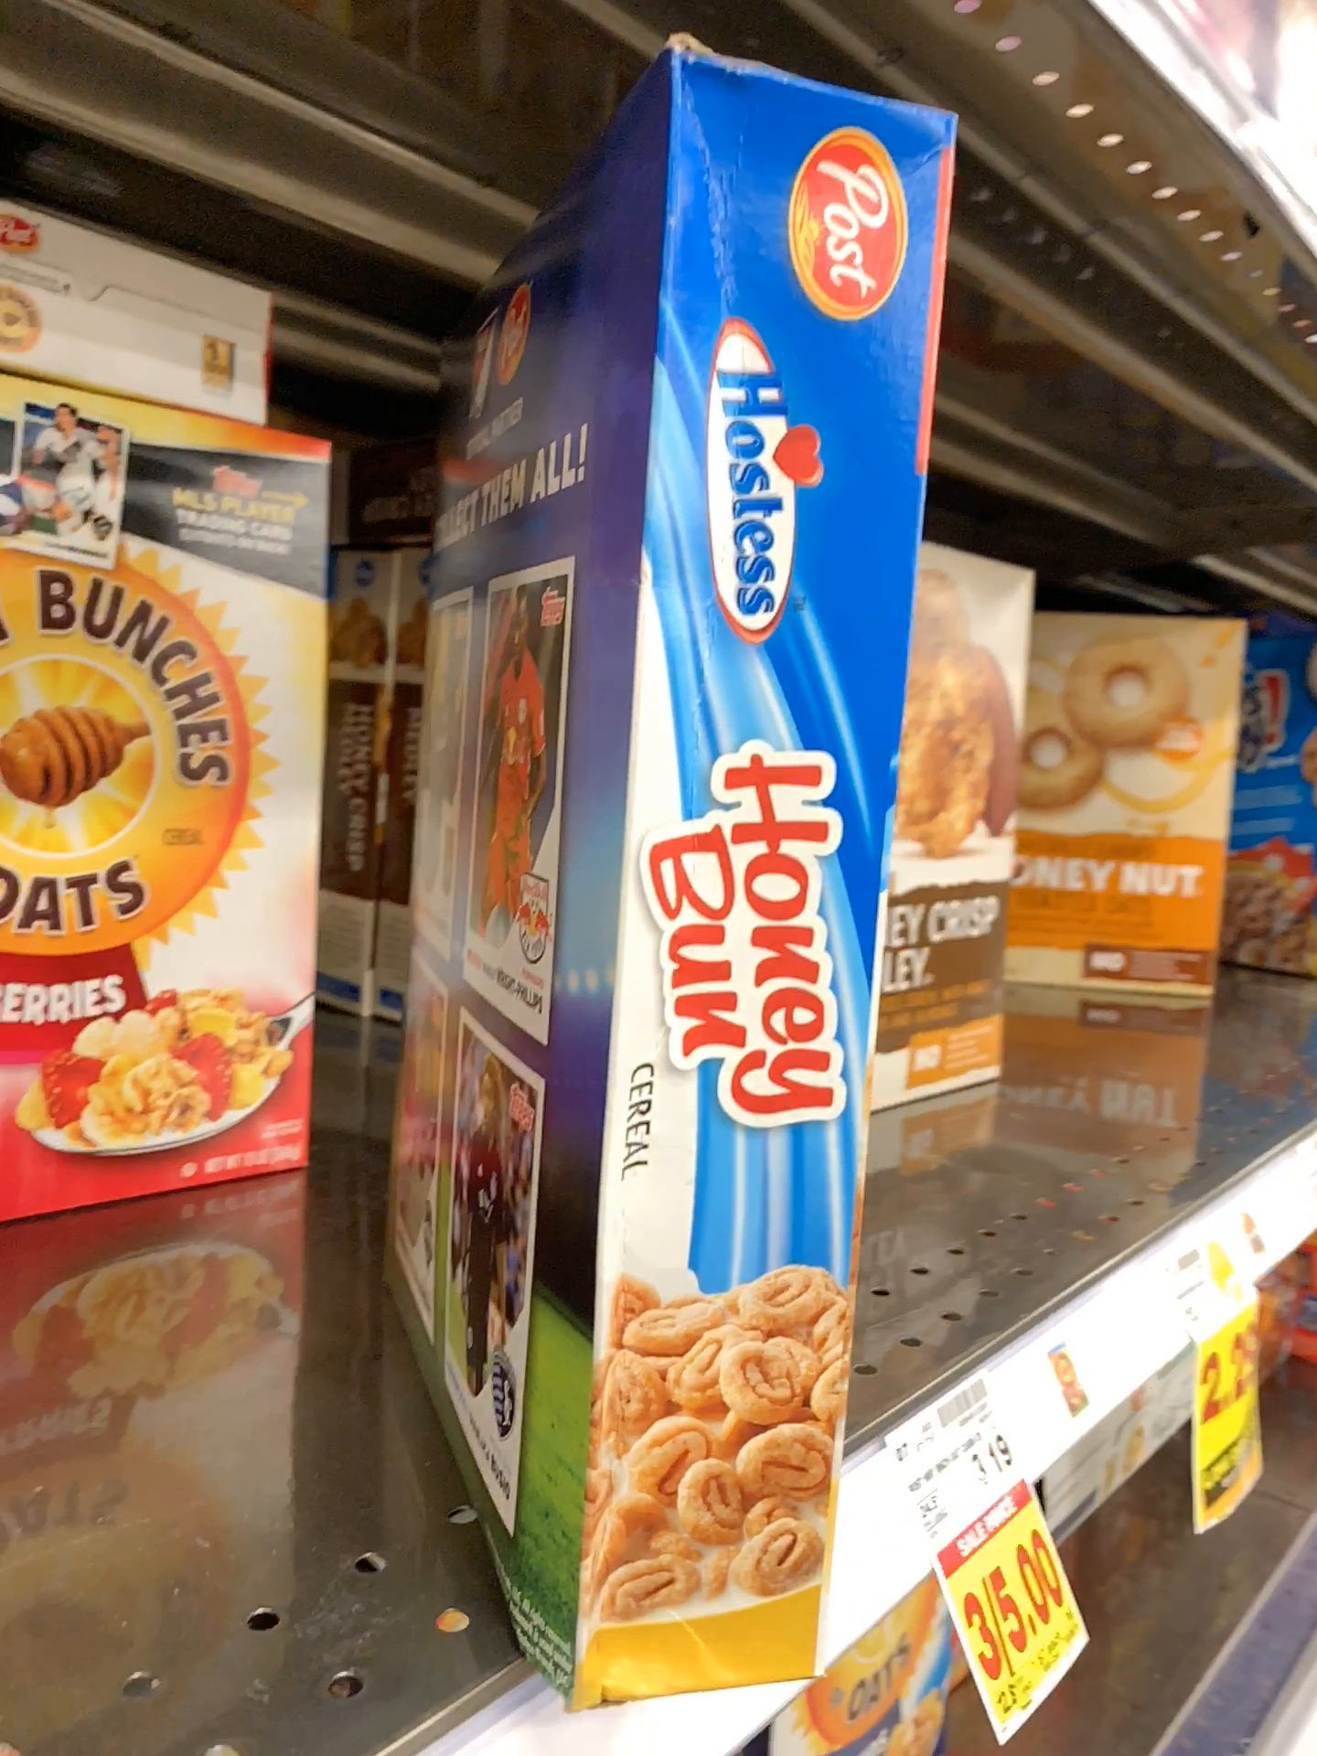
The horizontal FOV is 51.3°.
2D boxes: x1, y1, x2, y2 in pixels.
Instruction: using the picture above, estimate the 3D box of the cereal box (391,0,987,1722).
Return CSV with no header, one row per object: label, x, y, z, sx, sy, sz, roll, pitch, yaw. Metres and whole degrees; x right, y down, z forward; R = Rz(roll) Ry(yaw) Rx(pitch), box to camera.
cereal box,-0.014,-0.008,0.321,0.060,0.280,0.200,2,6,-18
